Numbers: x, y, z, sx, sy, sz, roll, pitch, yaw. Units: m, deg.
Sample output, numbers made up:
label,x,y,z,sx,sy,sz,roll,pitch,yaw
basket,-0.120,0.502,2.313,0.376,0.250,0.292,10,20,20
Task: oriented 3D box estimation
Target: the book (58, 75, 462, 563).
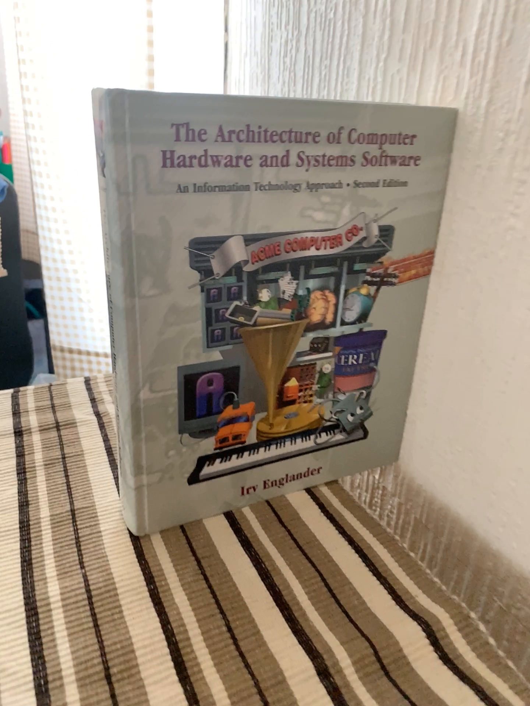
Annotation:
label,x,y,z,sx,sy,sz,roll,pitch,yaw
book,0.003,-0.018,0.332,0.210,0.258,0.040,-9,26,-24
